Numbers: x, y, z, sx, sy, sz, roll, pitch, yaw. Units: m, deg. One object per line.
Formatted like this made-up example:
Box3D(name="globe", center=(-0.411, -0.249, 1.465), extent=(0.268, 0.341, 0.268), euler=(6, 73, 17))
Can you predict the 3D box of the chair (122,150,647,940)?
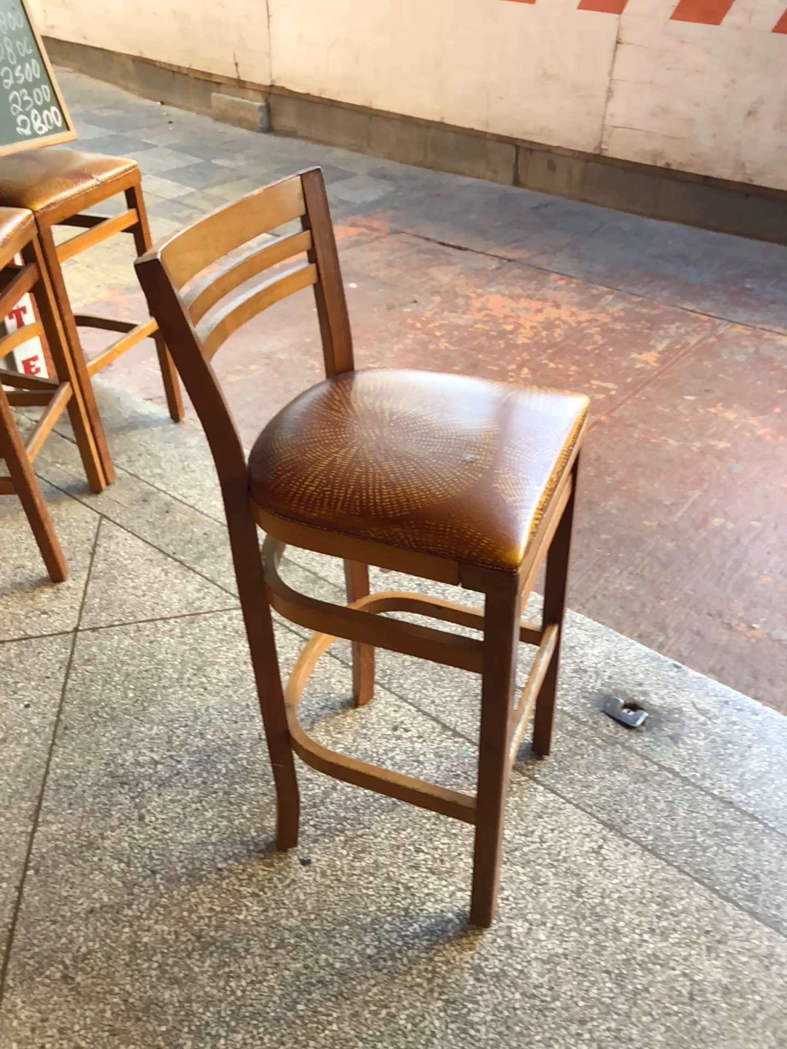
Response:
Box3D(name="chair", center=(0.021, 0.062, 1.200), extent=(0.430, 0.973, 0.403), euler=(14, 39, 19))
